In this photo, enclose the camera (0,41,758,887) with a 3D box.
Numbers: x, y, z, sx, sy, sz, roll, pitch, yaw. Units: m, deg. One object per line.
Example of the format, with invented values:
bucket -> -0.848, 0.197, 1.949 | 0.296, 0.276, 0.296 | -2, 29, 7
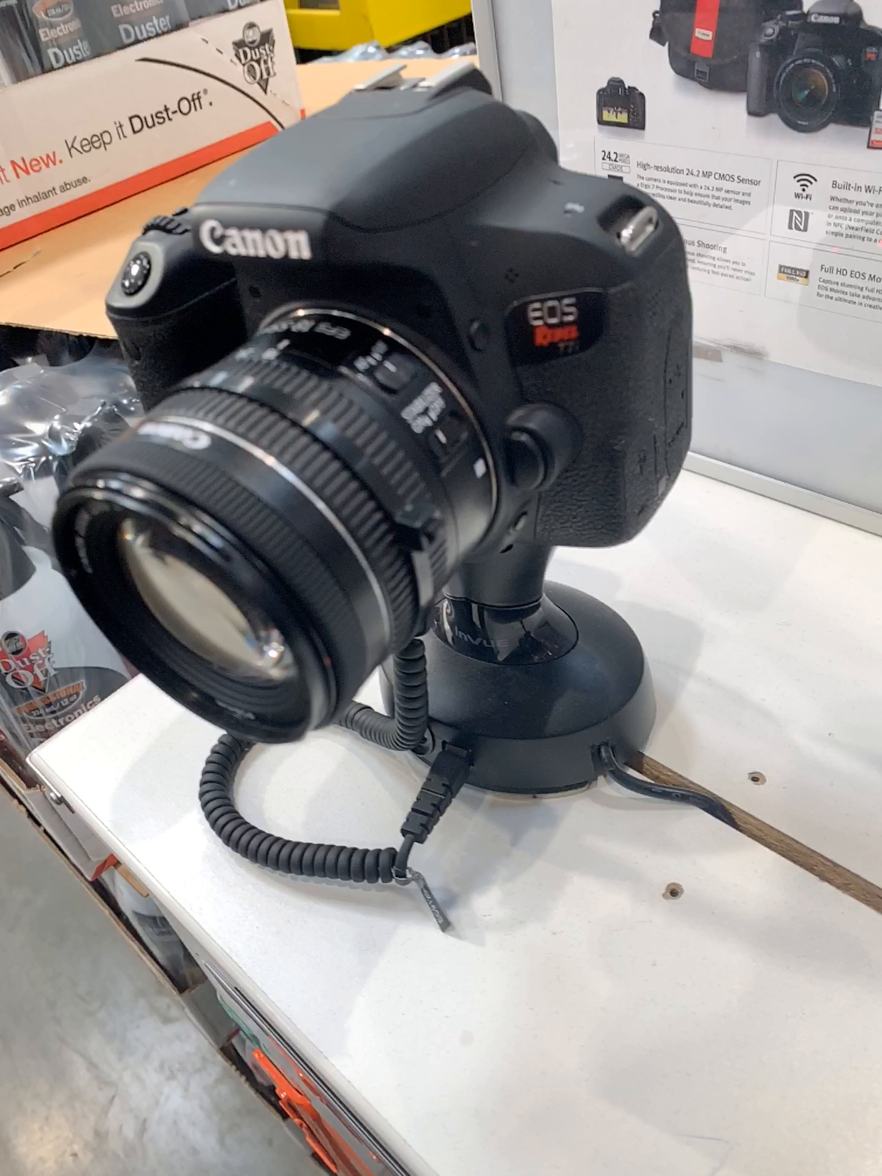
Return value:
camera -> -0.026, -0.041, 0.183 | 0.134, 0.089, 0.121 | 17, 48, 30
